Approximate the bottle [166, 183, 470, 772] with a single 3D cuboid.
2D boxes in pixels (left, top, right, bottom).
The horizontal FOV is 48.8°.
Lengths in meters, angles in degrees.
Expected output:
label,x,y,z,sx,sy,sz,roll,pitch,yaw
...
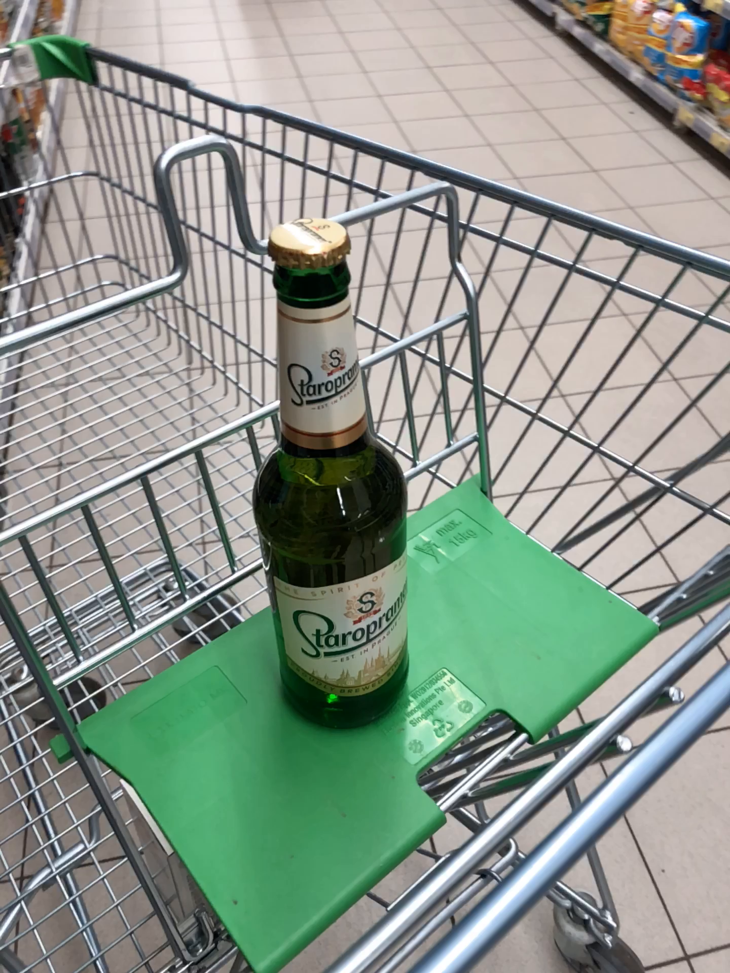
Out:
label,x,y,z,sx,sy,sz,roll,pitch,yaw
bottle,-0.013,0.013,0.333,0.070,0.239,0.070,-1,42,1
